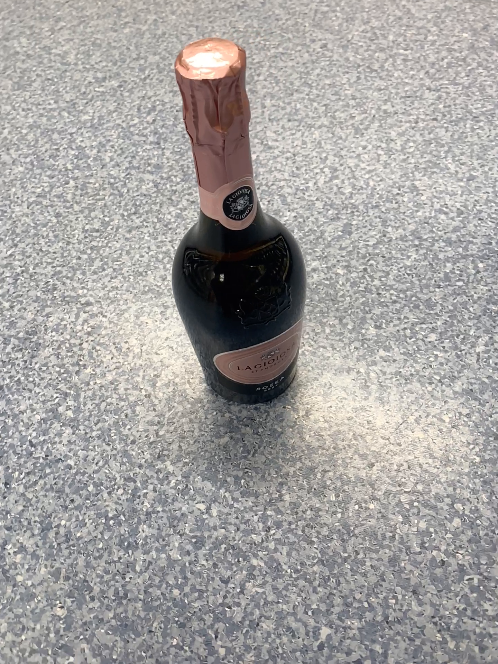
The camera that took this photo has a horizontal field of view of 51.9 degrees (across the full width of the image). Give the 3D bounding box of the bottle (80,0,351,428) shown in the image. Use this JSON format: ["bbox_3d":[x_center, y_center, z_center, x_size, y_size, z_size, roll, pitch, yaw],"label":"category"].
[{"bbox_3d":[-0.008,-0.044,0.333,0.094,0.269,0.079,-24,58,-11],"label":"bottle"}]
